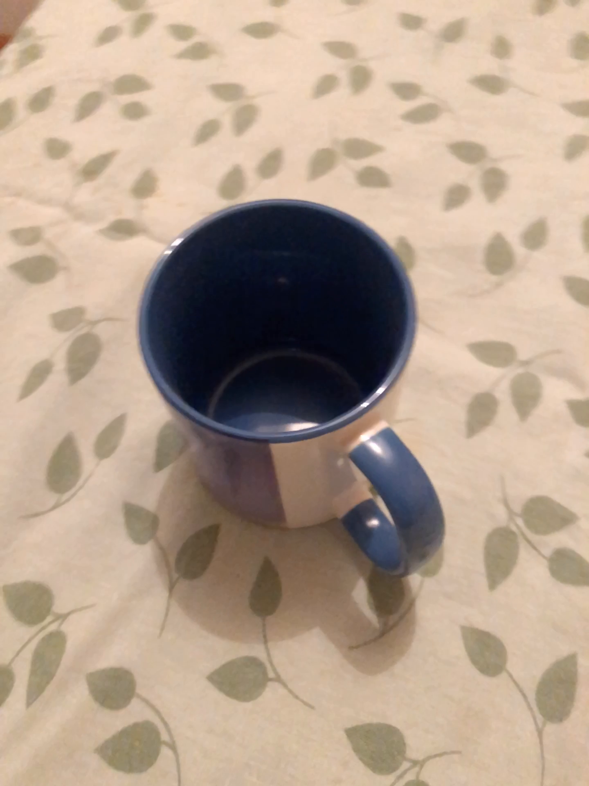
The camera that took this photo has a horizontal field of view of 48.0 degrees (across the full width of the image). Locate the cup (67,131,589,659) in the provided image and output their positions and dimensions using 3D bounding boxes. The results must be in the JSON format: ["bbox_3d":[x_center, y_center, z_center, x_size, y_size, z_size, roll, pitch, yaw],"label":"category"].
[{"bbox_3d":[0.006,0.006,0.224,0.090,0.100,0.120,-31,68,-13],"label":"cup"}]
